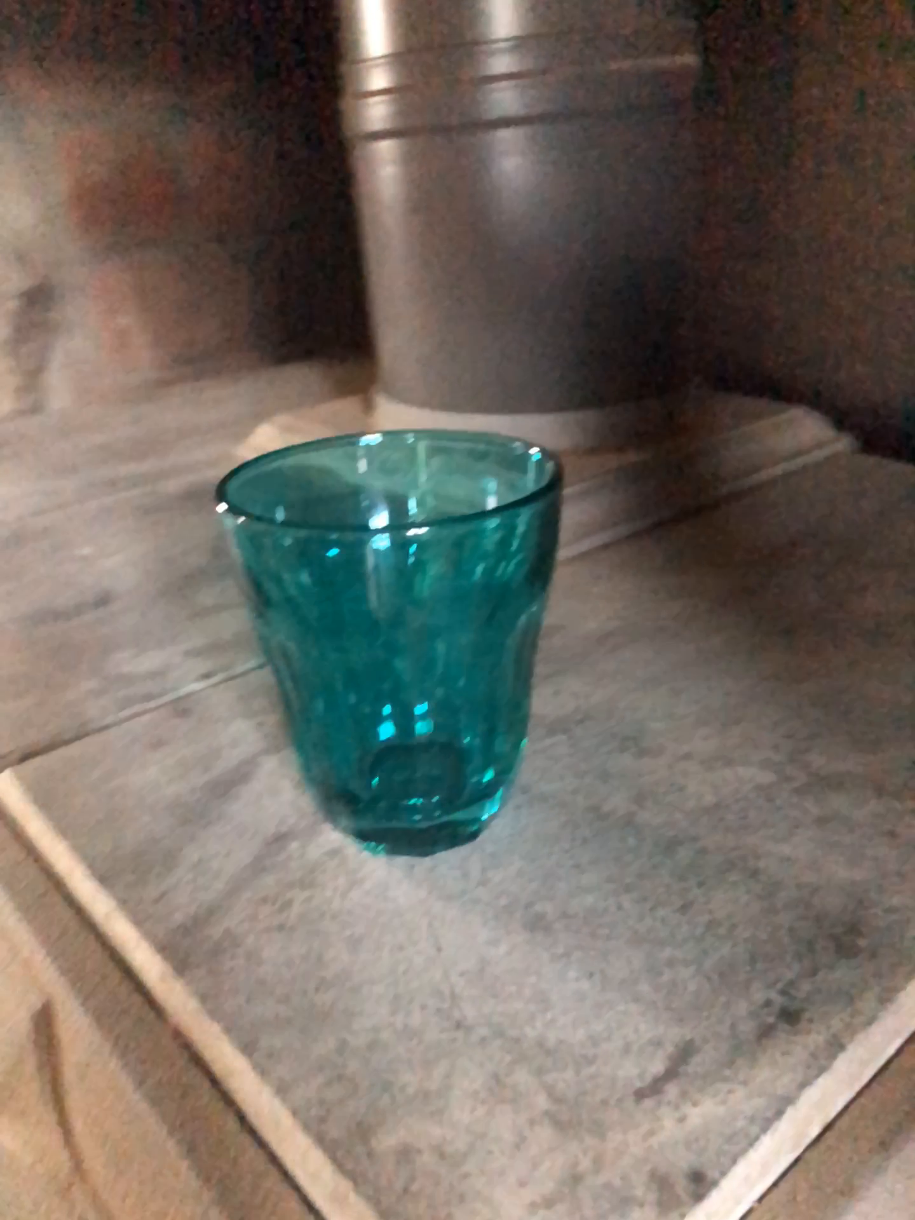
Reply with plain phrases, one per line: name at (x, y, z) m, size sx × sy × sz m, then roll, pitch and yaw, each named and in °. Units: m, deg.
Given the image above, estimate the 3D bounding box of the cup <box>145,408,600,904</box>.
cup at (-0.011, 0.004, 0.224) m, size 0.070 × 0.080 × 0.070 m, roll -3°, pitch 24°, yaw 1°
